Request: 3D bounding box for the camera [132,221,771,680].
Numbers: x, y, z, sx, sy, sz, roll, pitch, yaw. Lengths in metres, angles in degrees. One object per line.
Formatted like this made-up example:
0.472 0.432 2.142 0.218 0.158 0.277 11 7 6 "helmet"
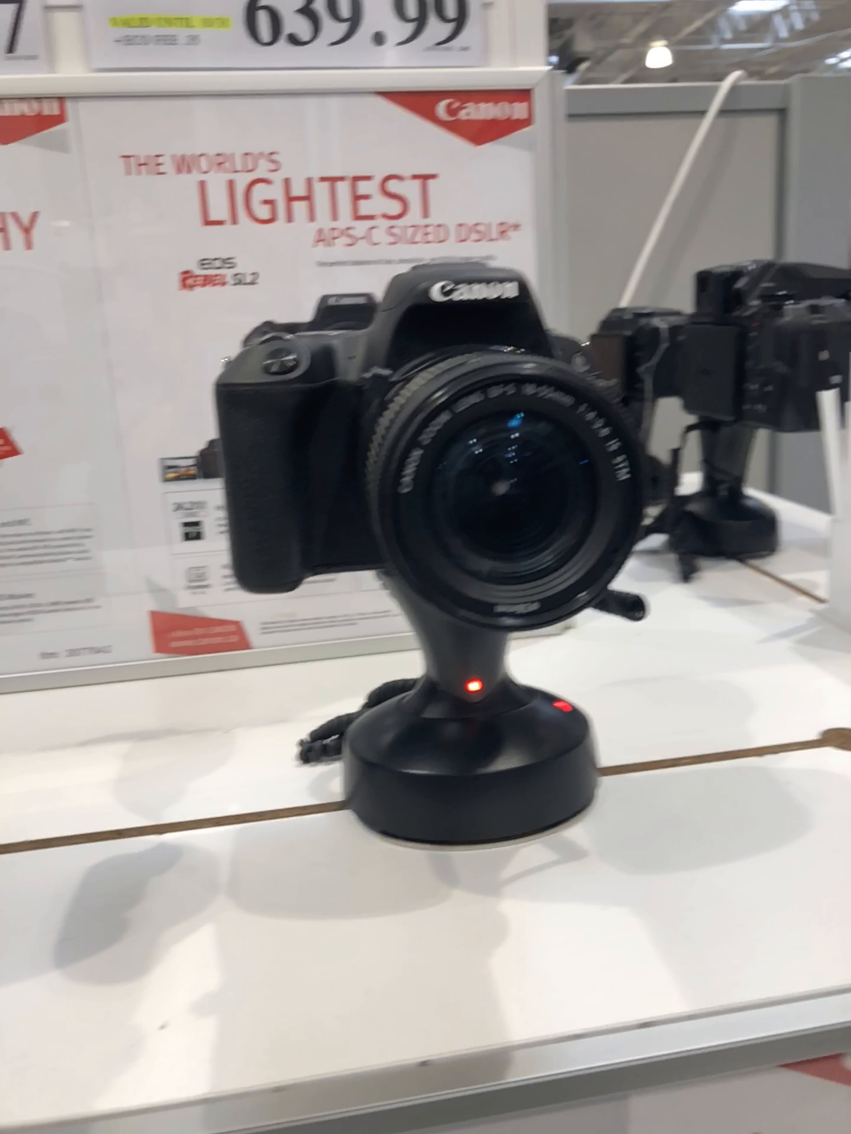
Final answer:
0.003 -0.039 0.258 0.130 0.090 0.120 -4 14 -5 "camera"
